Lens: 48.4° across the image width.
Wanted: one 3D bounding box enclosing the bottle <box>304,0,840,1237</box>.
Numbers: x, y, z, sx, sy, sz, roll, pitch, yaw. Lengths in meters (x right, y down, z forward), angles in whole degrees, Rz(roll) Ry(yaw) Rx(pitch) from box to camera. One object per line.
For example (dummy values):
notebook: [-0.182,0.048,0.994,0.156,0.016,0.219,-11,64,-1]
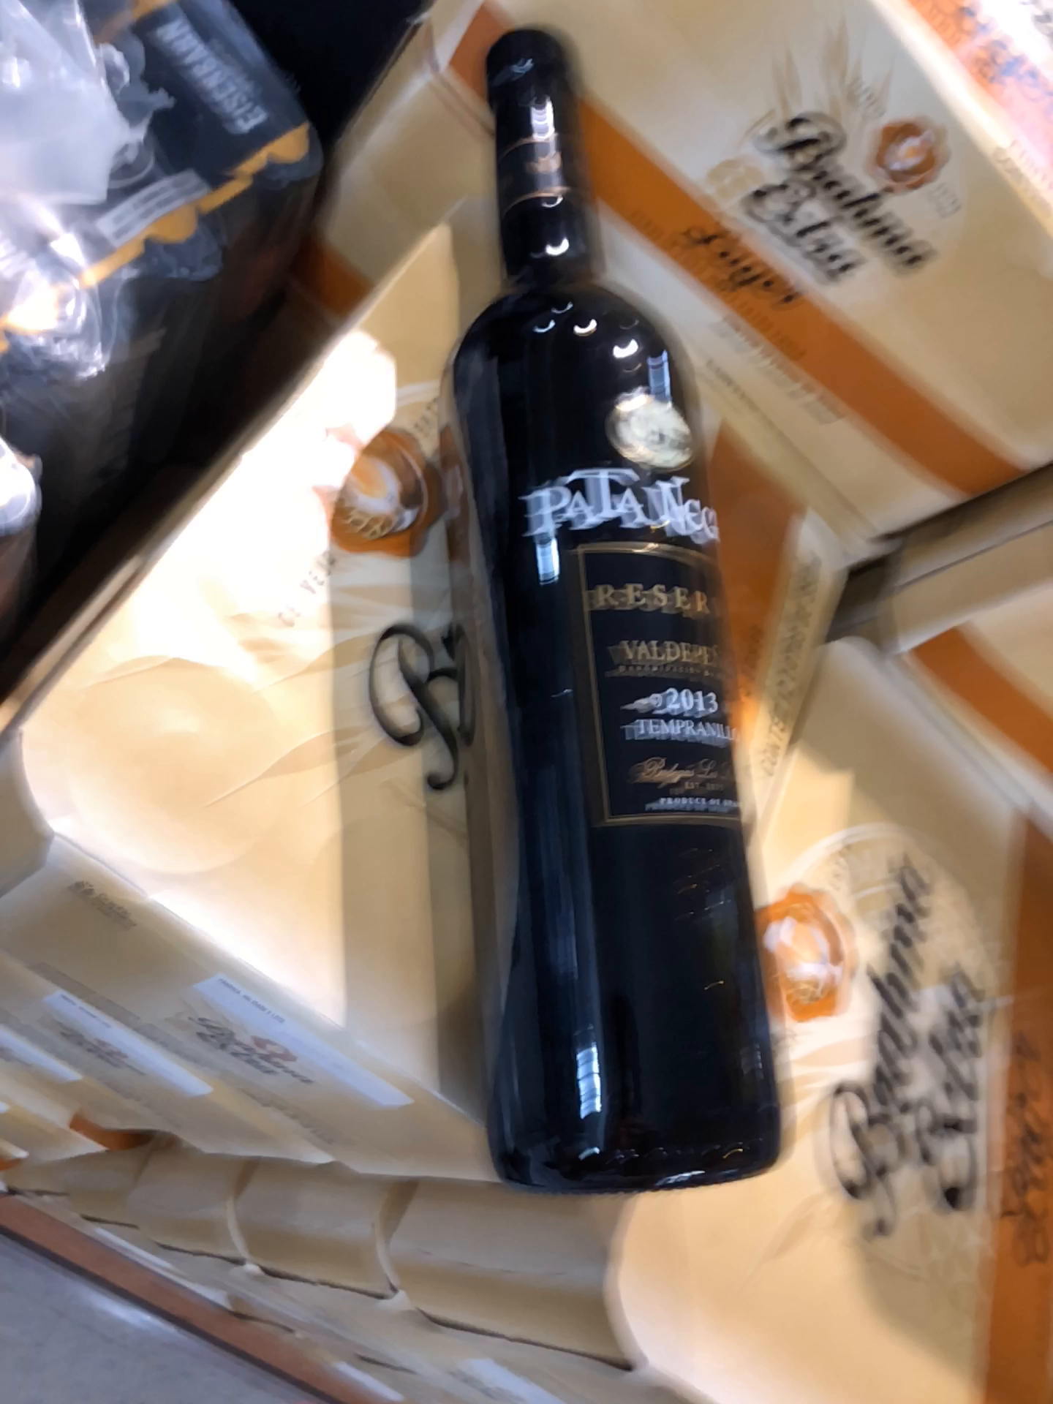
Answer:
bottle: [-0.002,-0.075,0.310,0.081,0.079,0.380,7,71,-34]
